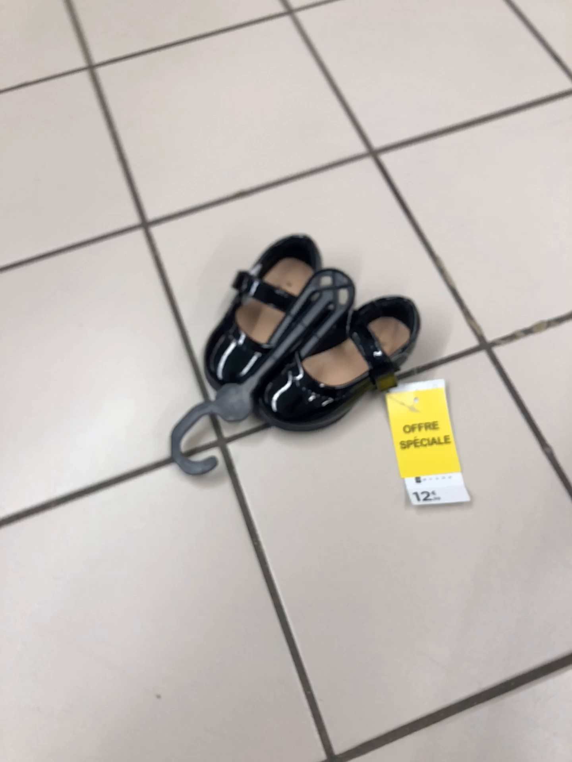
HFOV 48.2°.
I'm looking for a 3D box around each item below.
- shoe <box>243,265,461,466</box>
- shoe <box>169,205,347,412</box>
[{"bbox_3d":[0.044,-0.011,0.427,0.130,0.048,0.059,-35,68,-14],"label":"shoe"},{"bbox_3d":[-0.016,-0.052,0.445,0.059,0.048,0.127,28,68,15],"label":"shoe"}]
